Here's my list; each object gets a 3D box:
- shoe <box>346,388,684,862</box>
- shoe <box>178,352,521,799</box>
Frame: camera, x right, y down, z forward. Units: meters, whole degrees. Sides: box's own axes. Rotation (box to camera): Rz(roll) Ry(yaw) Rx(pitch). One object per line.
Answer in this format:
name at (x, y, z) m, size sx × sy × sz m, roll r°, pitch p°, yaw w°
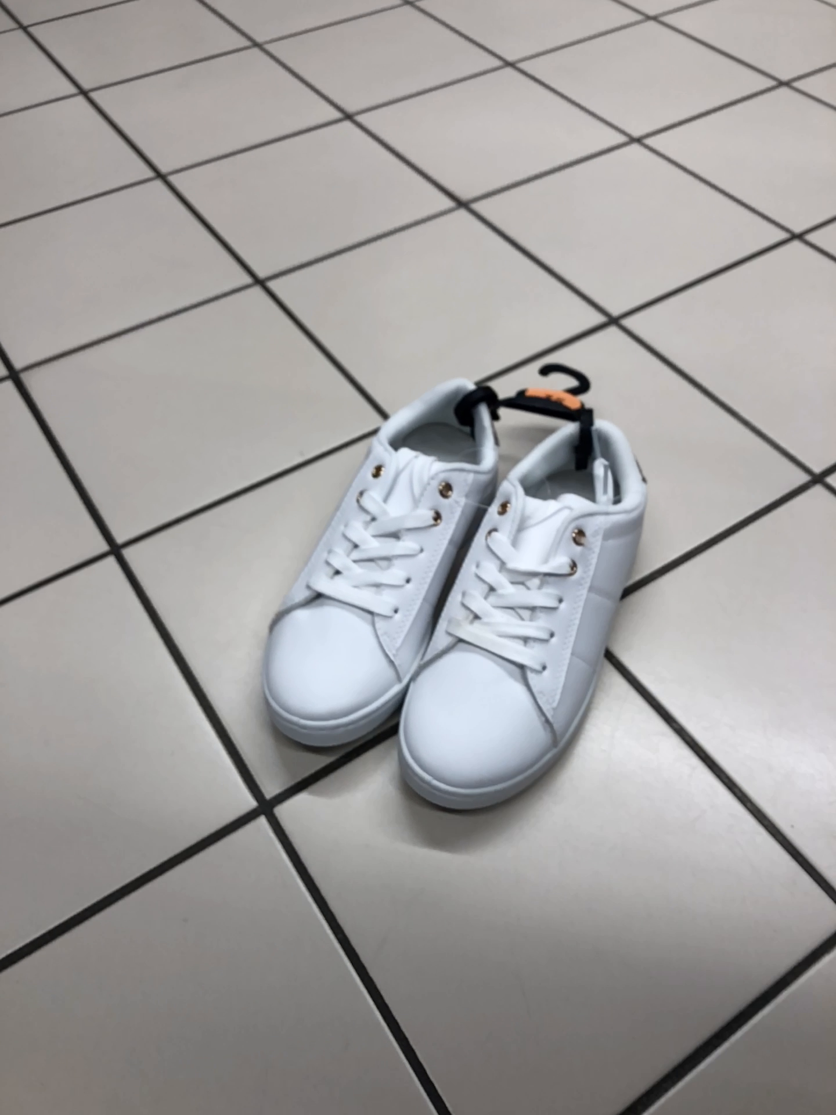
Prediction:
shoe at (0.060, 0.024, 0.503) m, size 0.090 × 0.080 × 0.241 m, roll 19°, pitch 53°, yaw 16°
shoe at (-0.025, -0.002, 0.523) m, size 0.090 × 0.080 × 0.241 m, roll 17°, pitch 53°, yaw 14°
